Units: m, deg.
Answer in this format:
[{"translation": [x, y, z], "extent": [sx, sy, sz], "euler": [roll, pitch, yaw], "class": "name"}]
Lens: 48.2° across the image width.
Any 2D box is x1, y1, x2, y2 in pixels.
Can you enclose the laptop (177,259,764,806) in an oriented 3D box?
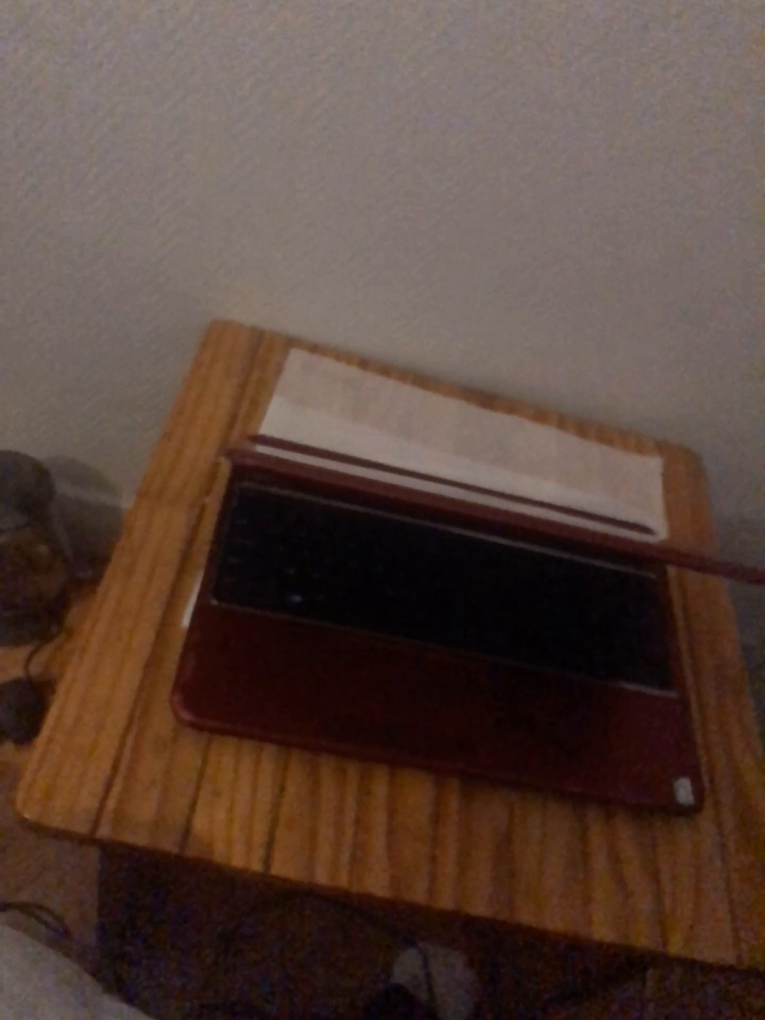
[{"translation": [0.081, 0.021, 0.593], "extent": [0.372, 0.168, 0.254], "euler": [14, 47, -12], "class": "laptop"}]
